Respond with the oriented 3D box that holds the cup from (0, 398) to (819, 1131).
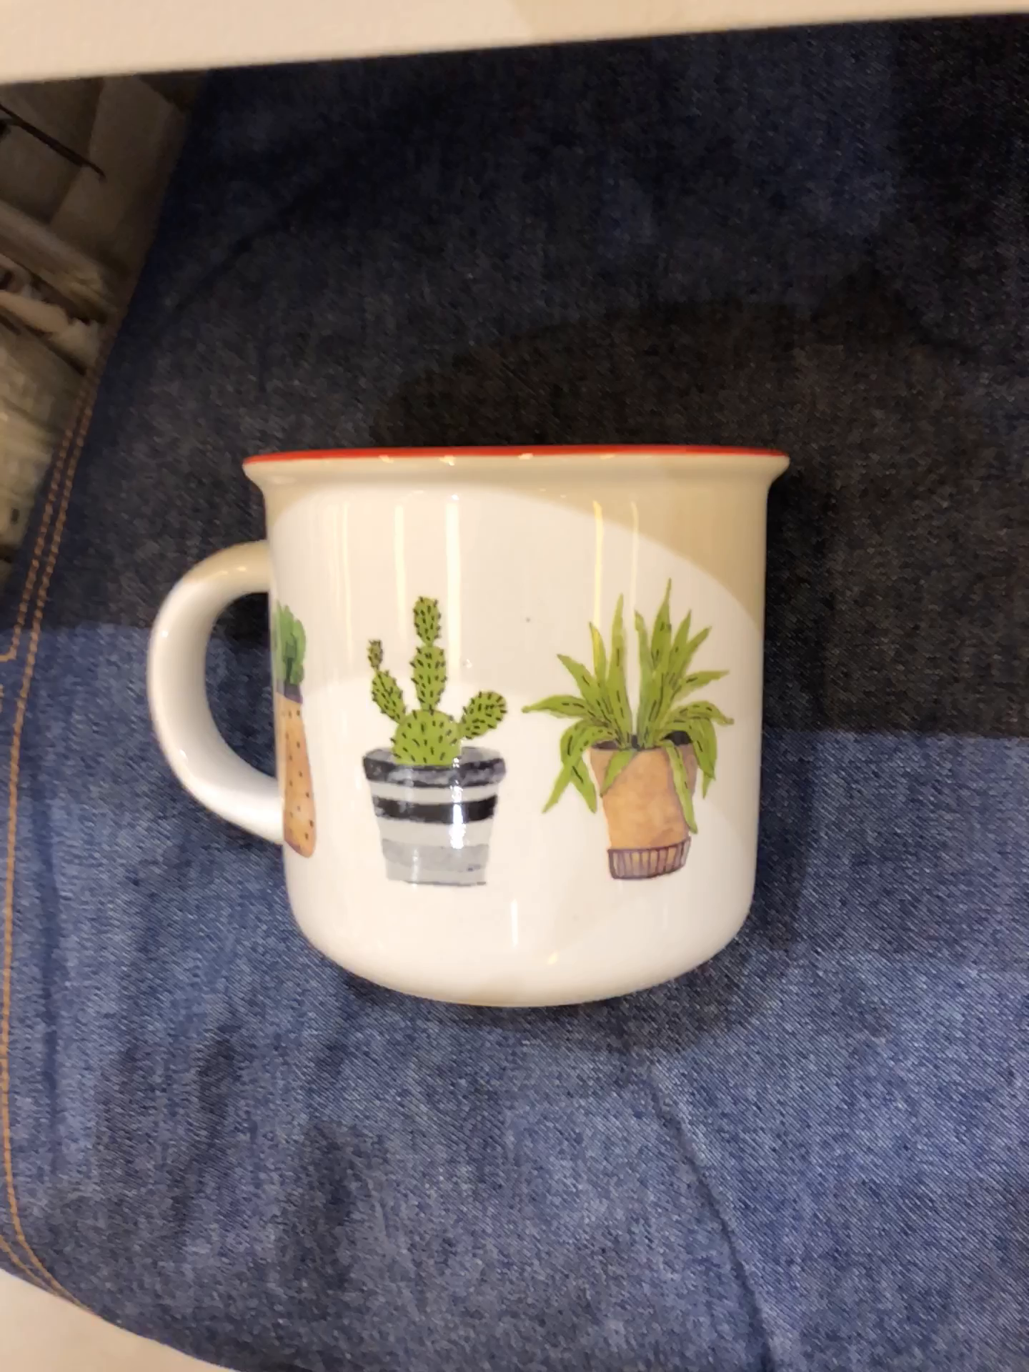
[{"bbox_3d":[-0.017,0.007,0.219,0.140,0.090,0.100,1,94,16],"label":"cup"}]
